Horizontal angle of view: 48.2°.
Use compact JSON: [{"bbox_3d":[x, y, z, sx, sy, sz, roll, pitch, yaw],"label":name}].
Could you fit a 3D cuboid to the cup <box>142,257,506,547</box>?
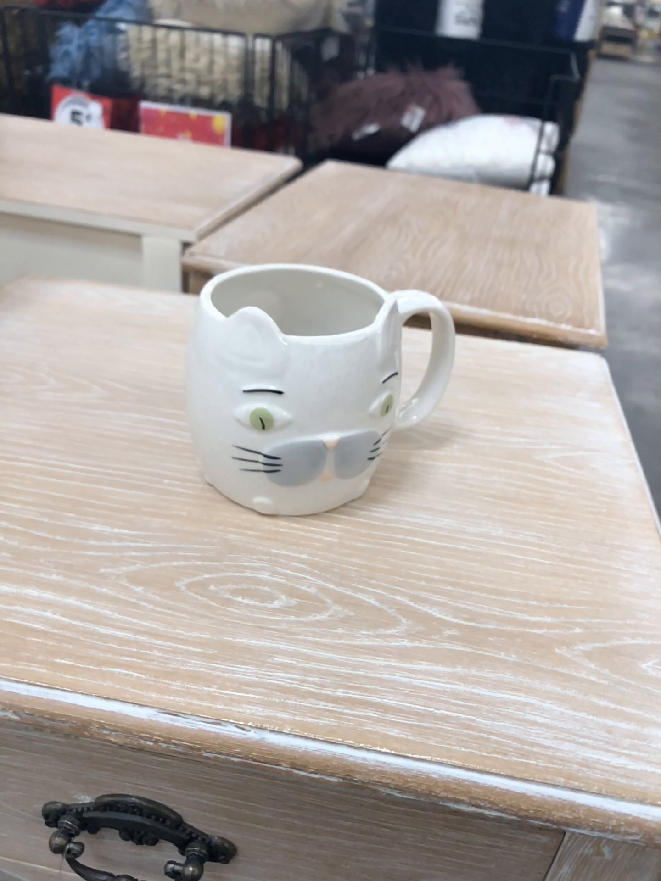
[{"bbox_3d":[-0.009,-0.024,0.325,0.125,0.073,0.092,-10,40,-25],"label":"cup"}]
